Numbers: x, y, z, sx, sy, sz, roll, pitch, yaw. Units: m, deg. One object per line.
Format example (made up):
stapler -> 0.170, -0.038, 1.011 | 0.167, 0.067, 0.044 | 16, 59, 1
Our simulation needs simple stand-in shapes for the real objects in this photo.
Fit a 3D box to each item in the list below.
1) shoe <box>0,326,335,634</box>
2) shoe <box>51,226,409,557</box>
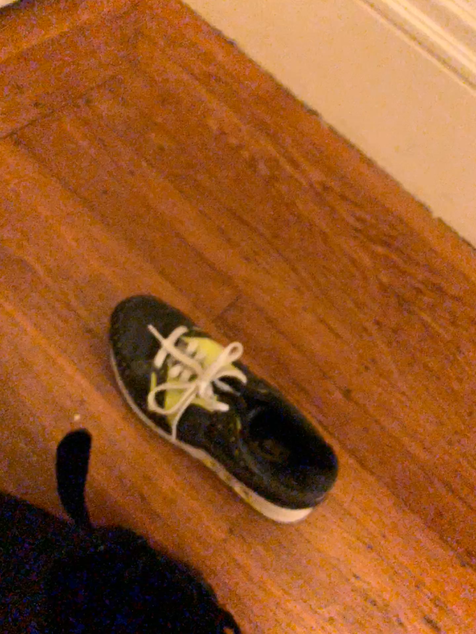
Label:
shoe -> -0.134, 0.174, 0.367 | 0.310, 0.240, 0.160 | 21, 64, -4
shoe -> -0.013, 0.068, 0.459 | 0.290, 0.100, 0.120 | 39, 64, 5
